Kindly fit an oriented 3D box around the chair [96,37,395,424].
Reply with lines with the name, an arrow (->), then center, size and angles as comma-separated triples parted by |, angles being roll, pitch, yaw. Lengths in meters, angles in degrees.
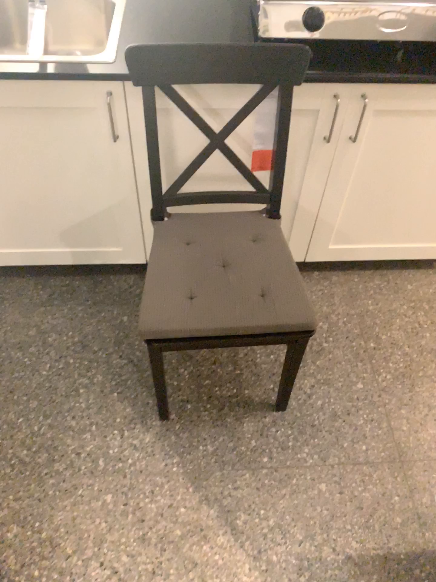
chair -> 0.005, -0.088, 1.077 | 0.420, 0.787, 0.492 | -3, 51, -5
